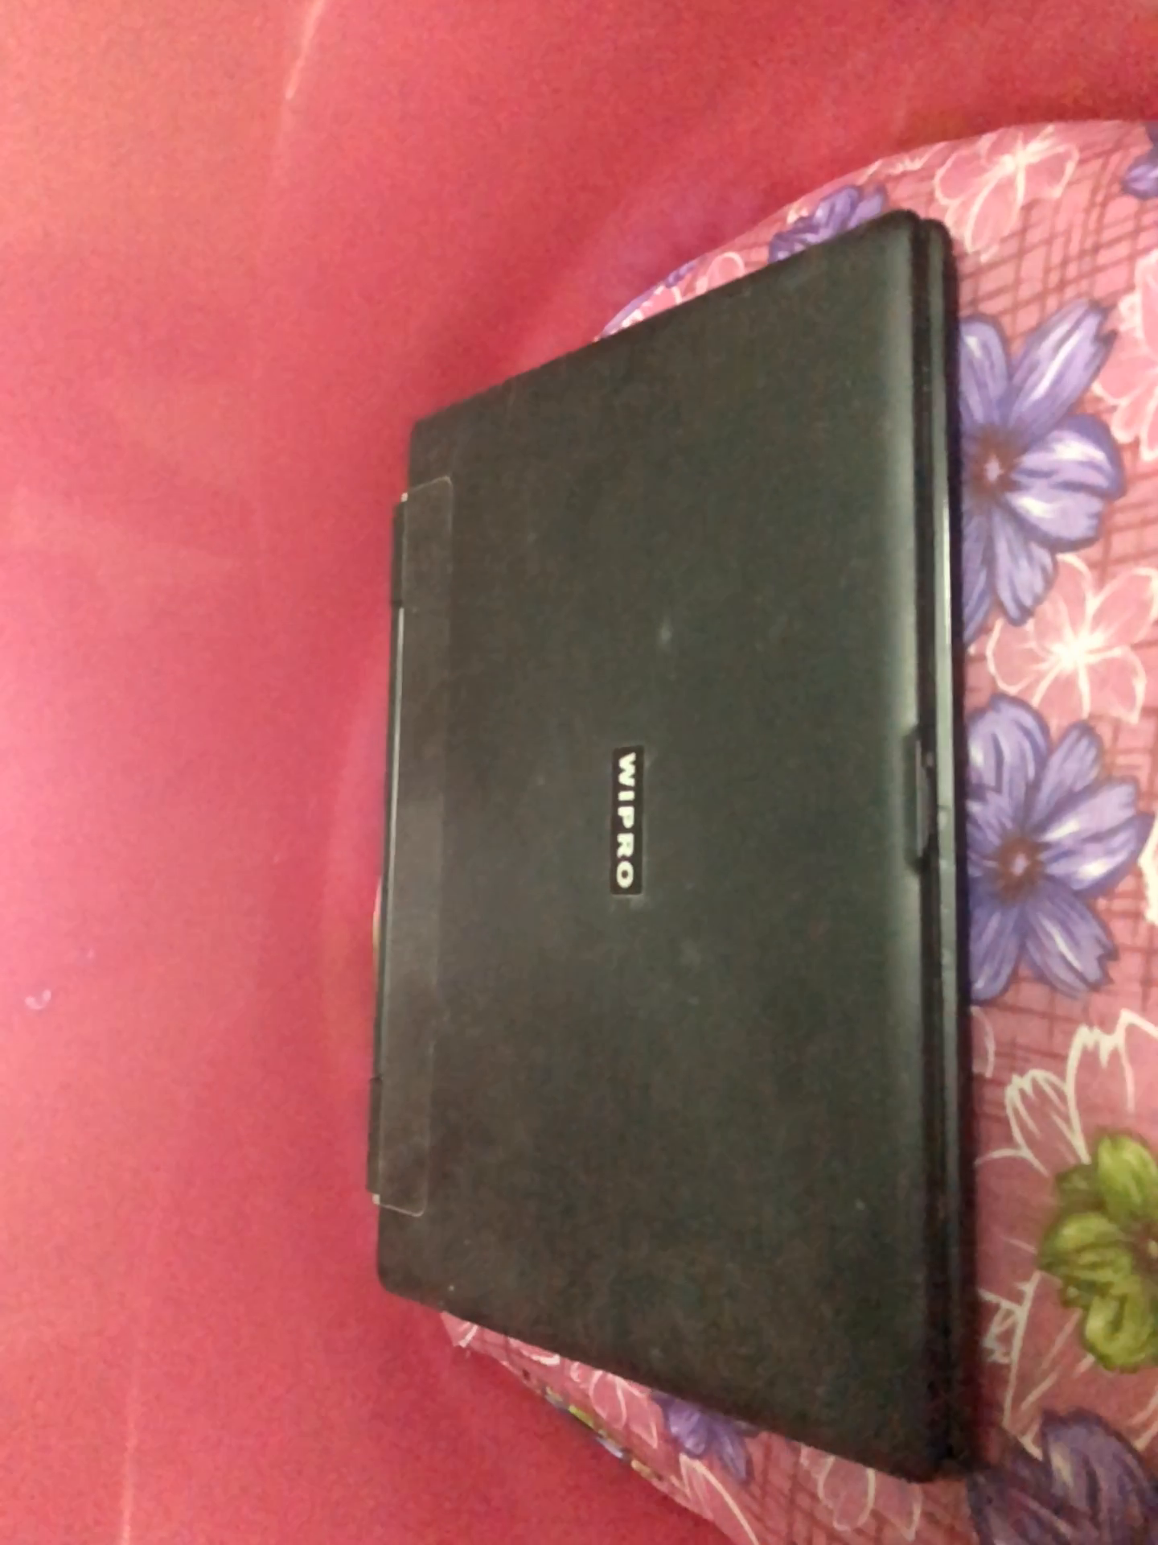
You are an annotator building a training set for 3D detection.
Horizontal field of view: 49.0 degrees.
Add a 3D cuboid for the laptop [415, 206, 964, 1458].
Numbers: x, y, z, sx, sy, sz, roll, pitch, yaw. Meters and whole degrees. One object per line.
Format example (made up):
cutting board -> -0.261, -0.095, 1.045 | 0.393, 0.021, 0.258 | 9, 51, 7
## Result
laptop -> 0.021, 0.014, 0.409 | 0.221, 0.006, 0.322 | -6, 81, 47
